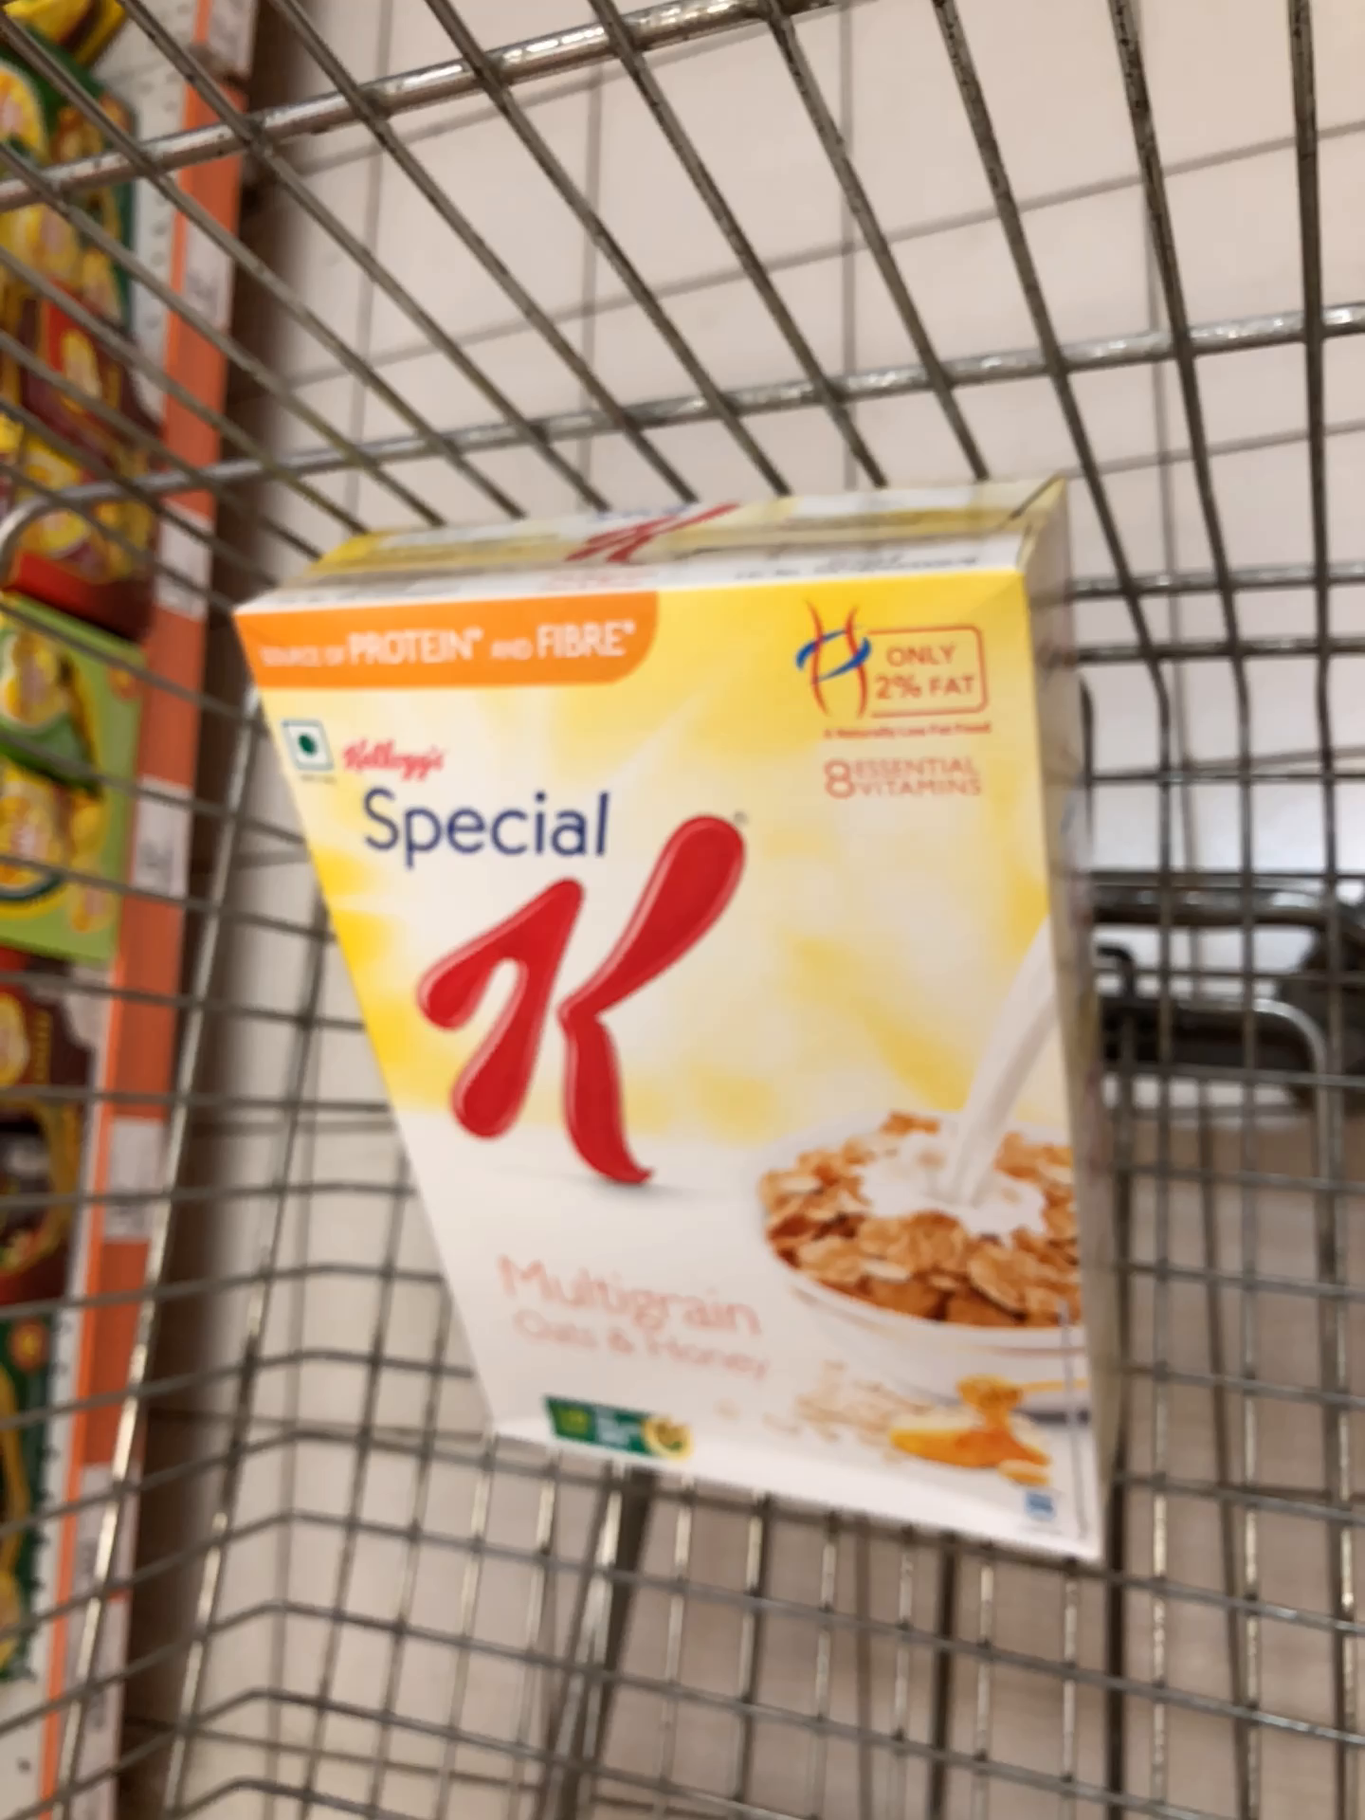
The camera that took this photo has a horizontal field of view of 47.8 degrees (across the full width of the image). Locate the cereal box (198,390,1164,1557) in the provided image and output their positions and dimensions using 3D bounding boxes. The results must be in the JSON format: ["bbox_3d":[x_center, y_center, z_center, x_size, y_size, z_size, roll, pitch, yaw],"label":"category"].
[{"bbox_3d":[0.018,0.022,0.404,0.190,0.090,0.269,2,120,24],"label":"cereal box"}]
